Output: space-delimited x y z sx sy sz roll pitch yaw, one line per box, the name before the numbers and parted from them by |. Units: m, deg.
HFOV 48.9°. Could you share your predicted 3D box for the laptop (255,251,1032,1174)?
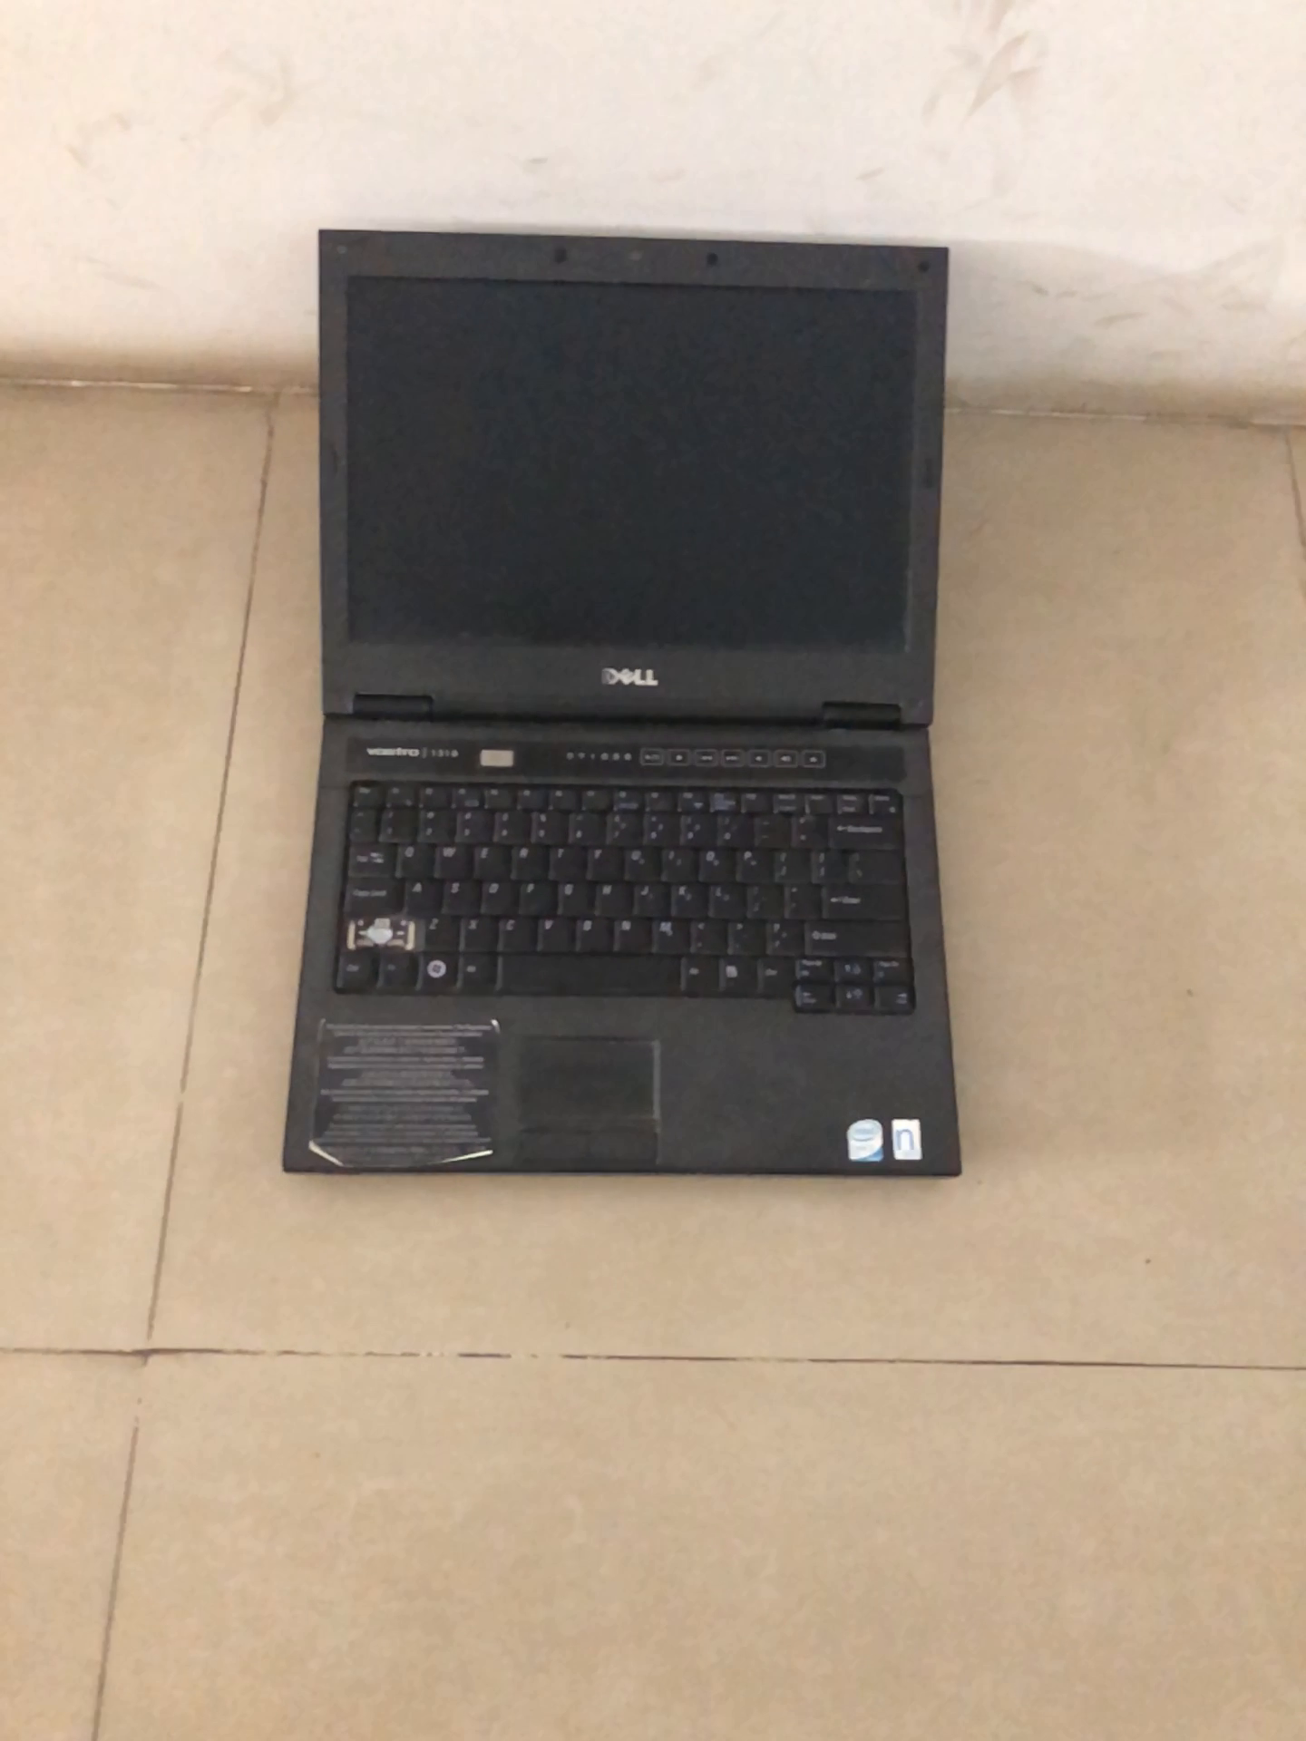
laptop | -0.004 -0.084 0.684 0.299 0.114 0.433 0 68 -1
